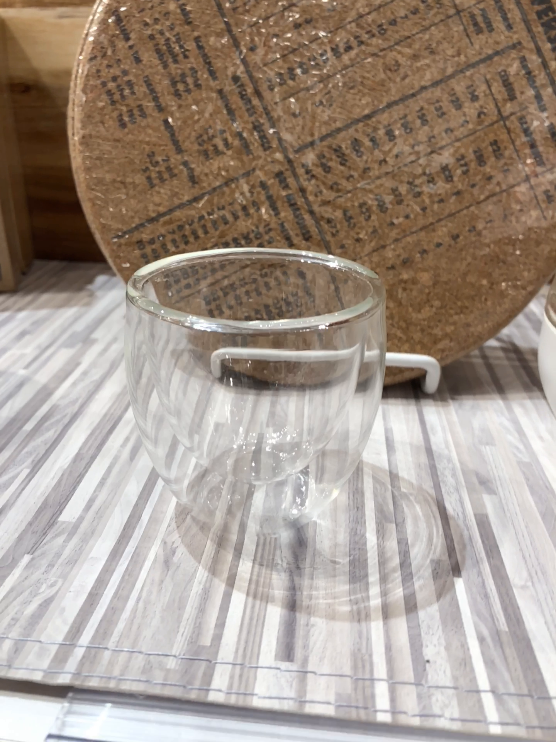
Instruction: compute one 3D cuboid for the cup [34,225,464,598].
[{"bbox_3d":[-0.005,0.000,0.155,0.070,0.050,0.070,1,25,0],"label":"cup"}]
